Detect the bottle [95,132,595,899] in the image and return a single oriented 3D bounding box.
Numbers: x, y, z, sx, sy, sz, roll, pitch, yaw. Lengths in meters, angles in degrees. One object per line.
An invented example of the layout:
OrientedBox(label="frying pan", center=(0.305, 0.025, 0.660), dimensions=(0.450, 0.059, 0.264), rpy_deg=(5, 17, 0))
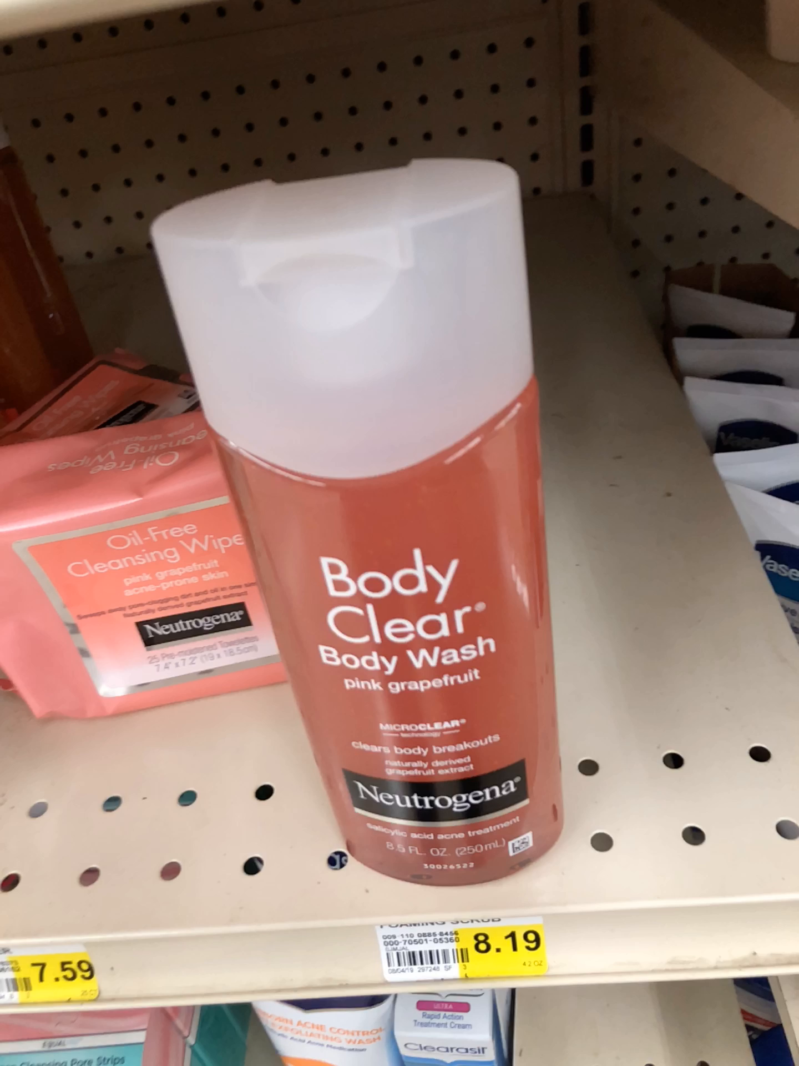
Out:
OrientedBox(label="bottle", center=(0.005, 0.020, 0.196), dimensions=(0.070, 0.190, 0.030), rpy_deg=(-5, 41, 8))
